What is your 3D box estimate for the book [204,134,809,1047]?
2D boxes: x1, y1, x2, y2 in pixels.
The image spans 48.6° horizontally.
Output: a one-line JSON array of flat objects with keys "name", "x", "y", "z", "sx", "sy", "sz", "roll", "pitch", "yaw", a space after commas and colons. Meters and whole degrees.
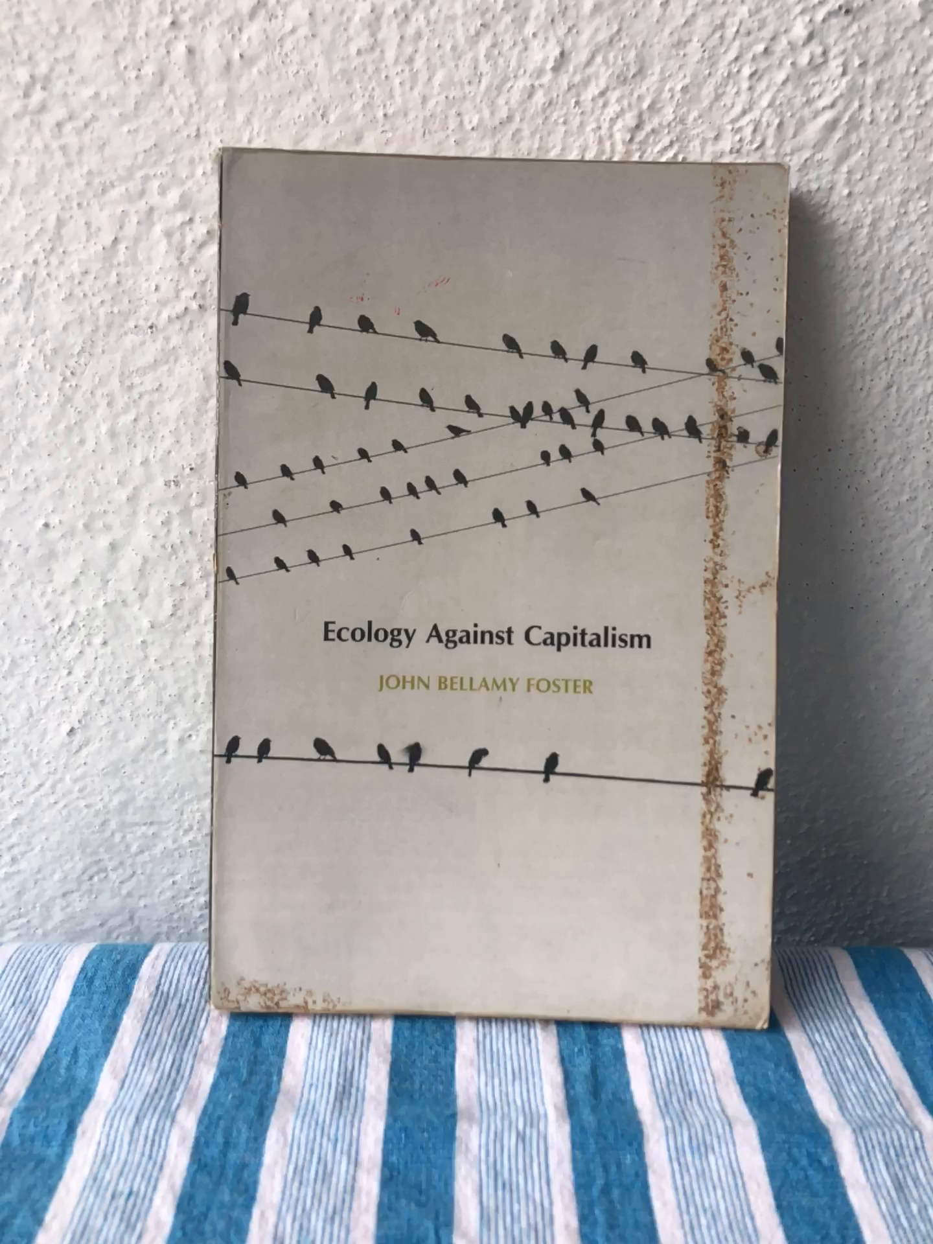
[{"name": "book", "x": 0.010, "y": -0.009, "z": 0.257, "sx": 0.140, "sy": 0.210, "sz": 0.030, "roll": 0, "pitch": -1, "yaw": 4}]
